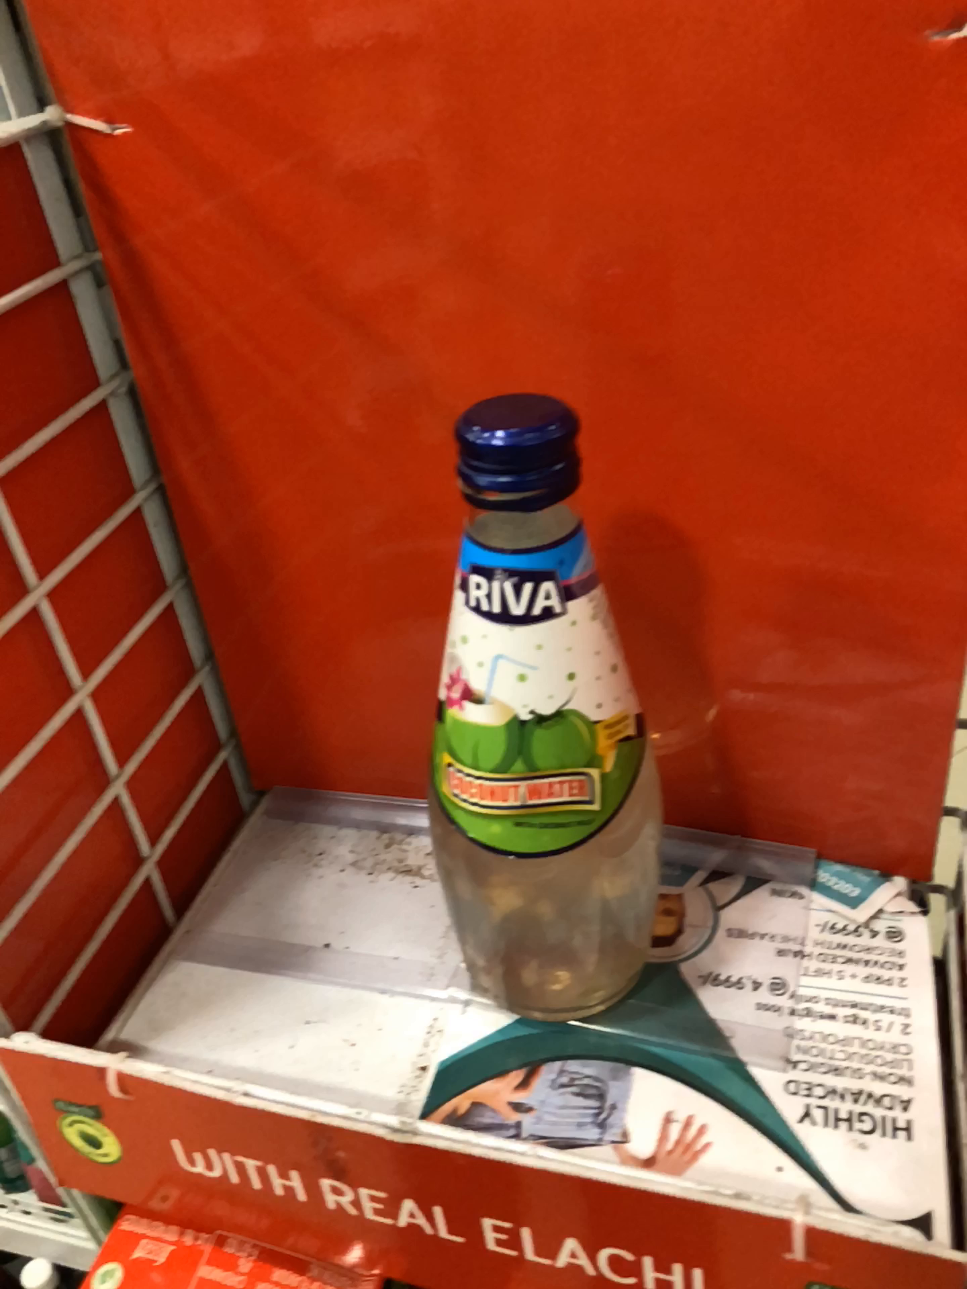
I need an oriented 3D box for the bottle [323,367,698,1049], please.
[{"bbox_3d":[0.019,0.023,0.289,0.070,0.179,0.060,4,36,17],"label":"bottle"}]
